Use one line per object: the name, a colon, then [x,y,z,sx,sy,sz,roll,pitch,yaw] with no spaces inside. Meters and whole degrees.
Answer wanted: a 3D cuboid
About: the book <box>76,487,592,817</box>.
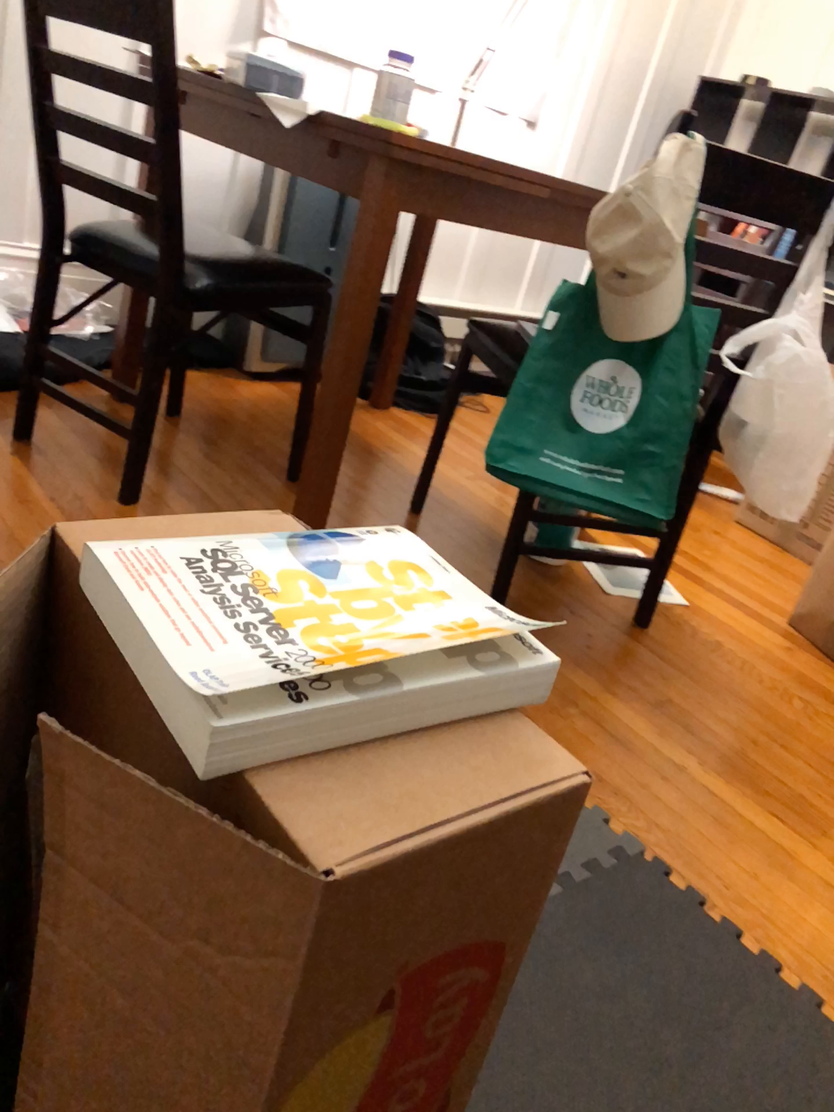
book: [-0.048,0.036,0.562,0.241,0.050,0.200,-10,37,-41]
